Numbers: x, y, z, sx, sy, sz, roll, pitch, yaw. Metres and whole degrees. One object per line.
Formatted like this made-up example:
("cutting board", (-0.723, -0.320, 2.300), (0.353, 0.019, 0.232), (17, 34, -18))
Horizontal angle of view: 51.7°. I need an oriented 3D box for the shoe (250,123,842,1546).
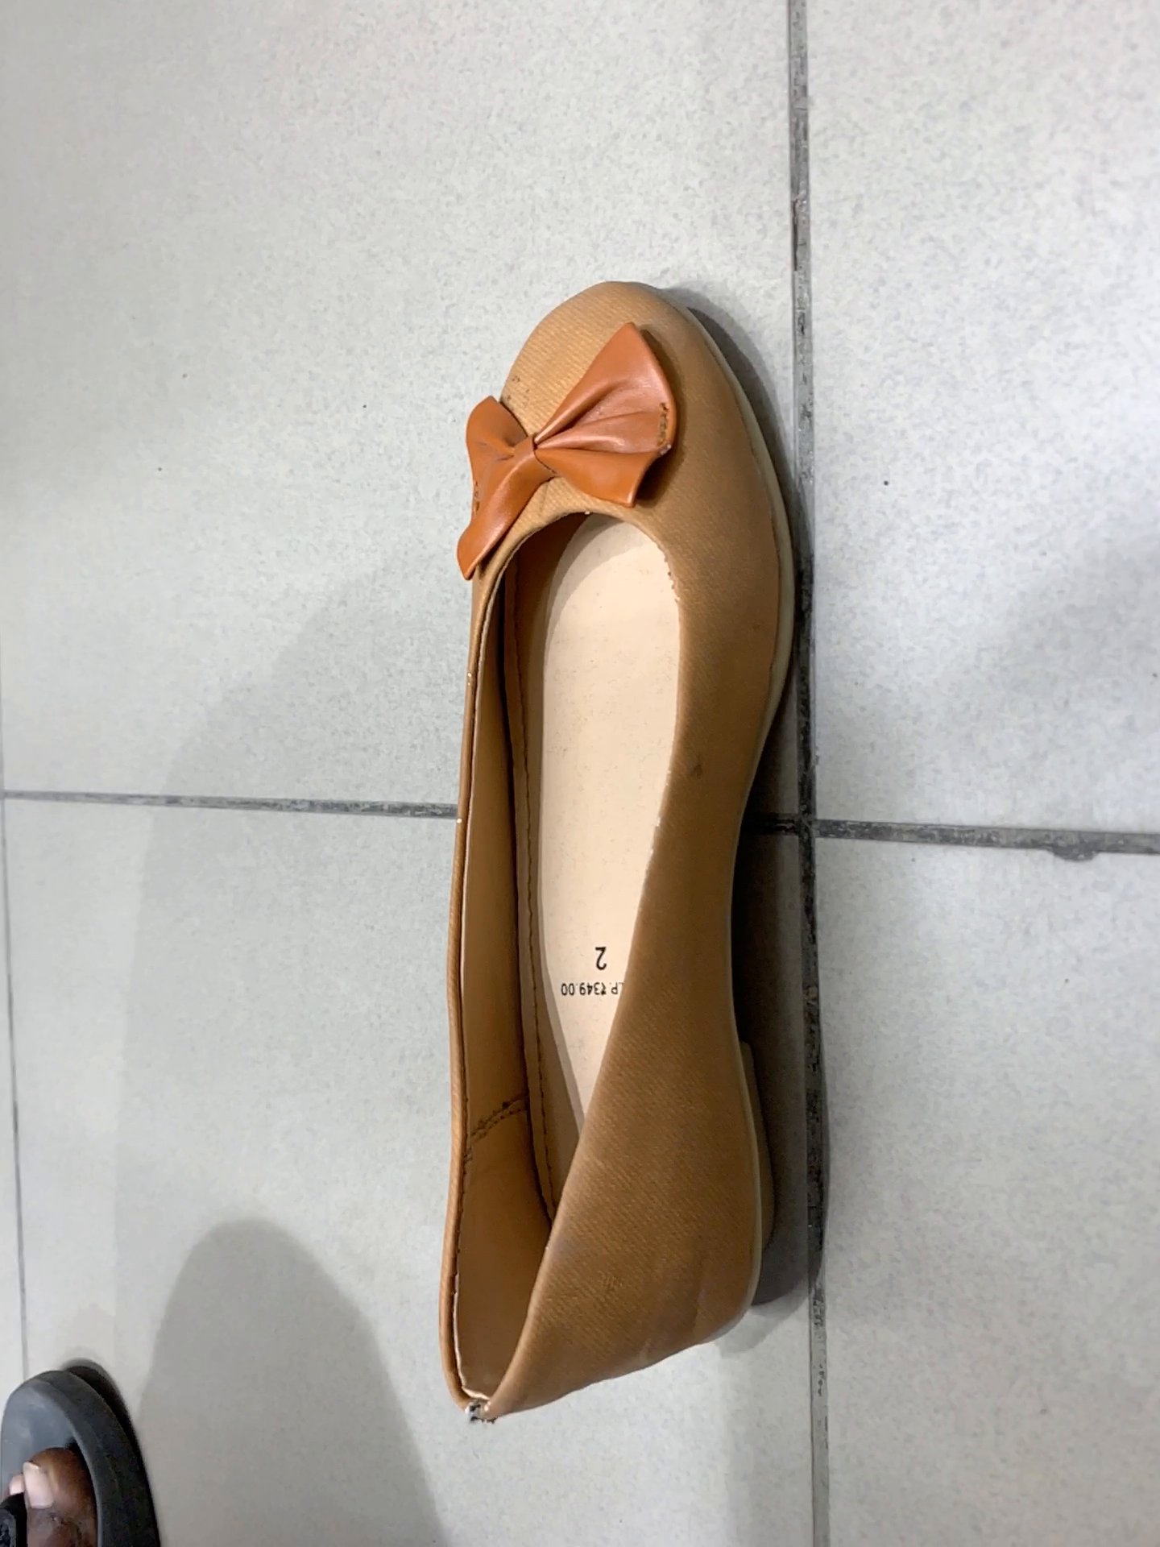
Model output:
("shoe", (-0.007, 0.013, 0.232), (0.080, 0.070, 0.220), (-2, 91, 43))
